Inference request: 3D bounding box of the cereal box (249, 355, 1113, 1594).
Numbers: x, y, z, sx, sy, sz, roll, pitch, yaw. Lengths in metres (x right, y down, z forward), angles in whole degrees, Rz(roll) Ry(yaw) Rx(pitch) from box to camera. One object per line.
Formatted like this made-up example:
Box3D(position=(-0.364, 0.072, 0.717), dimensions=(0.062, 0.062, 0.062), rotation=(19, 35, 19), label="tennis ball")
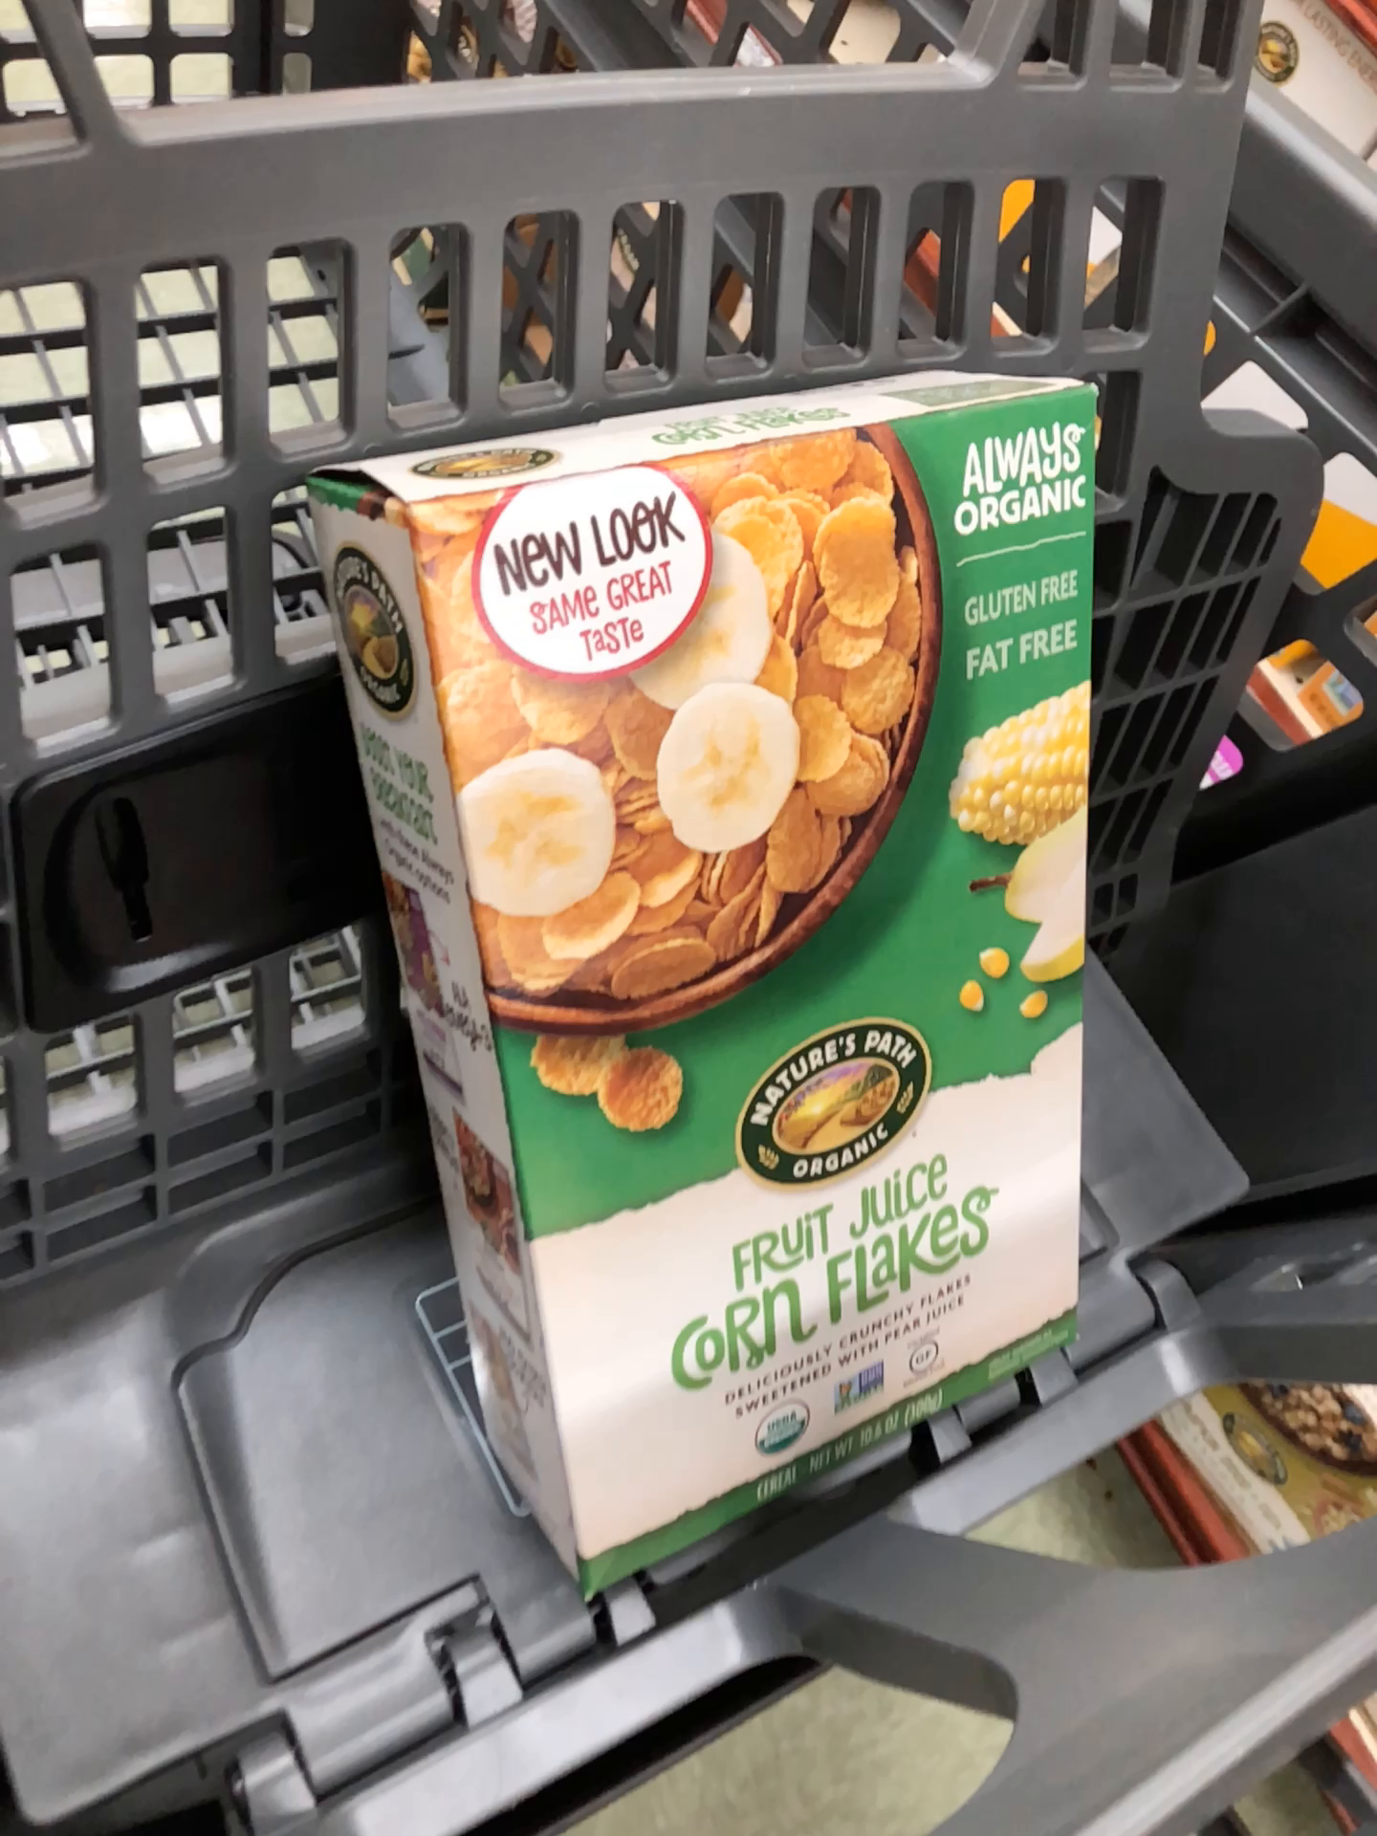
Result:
Box3D(position=(0.011, 0.007, 0.335), dimensions=(0.150, 0.230, 0.070), rotation=(-18, 27, -26), label="cereal box")
